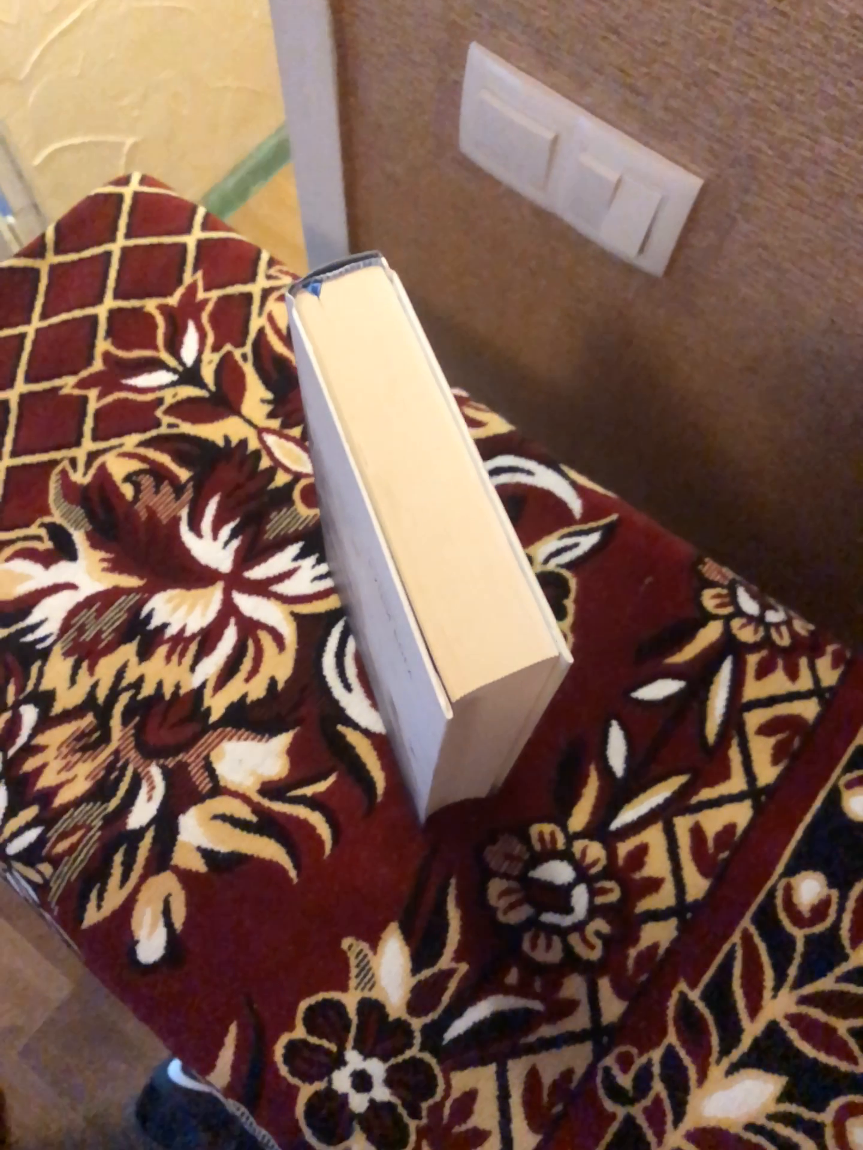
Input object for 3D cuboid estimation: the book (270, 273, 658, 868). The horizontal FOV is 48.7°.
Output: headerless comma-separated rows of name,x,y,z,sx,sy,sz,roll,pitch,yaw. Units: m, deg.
book,0.002,0.019,0.345,0.048,0.201,0.145,-21,71,-10
